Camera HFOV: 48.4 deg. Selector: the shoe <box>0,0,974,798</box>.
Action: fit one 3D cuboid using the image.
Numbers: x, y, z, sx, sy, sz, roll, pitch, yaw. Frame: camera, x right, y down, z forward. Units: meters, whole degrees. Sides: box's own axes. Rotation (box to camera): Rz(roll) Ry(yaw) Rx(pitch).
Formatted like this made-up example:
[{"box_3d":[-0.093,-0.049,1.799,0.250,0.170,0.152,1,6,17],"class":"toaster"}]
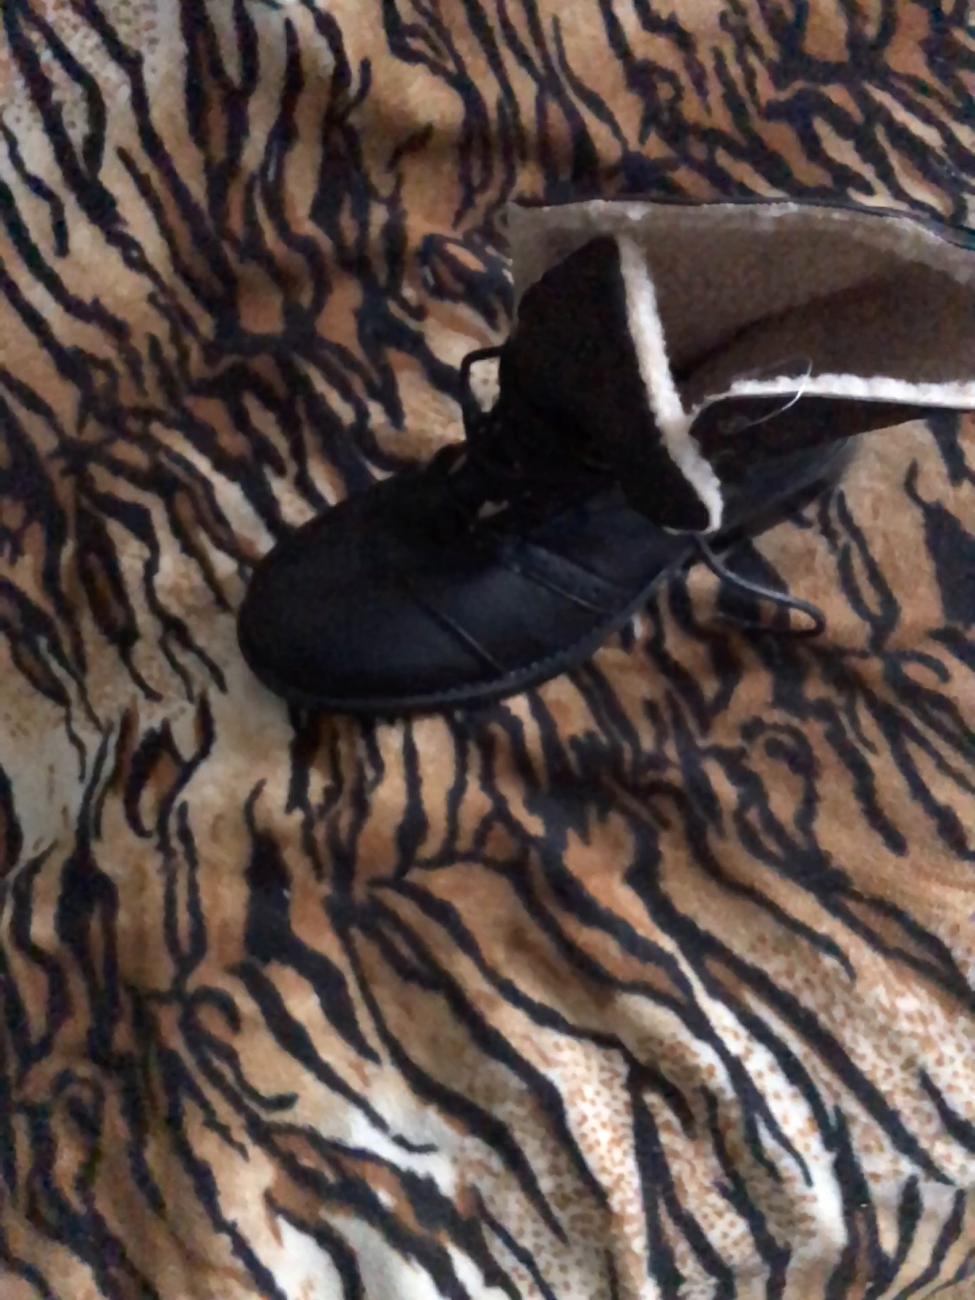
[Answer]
[{"box_3d":[0.020,-0.091,0.445,0.330,0.200,0.140,-24,68,1],"class":"shoe"}]
